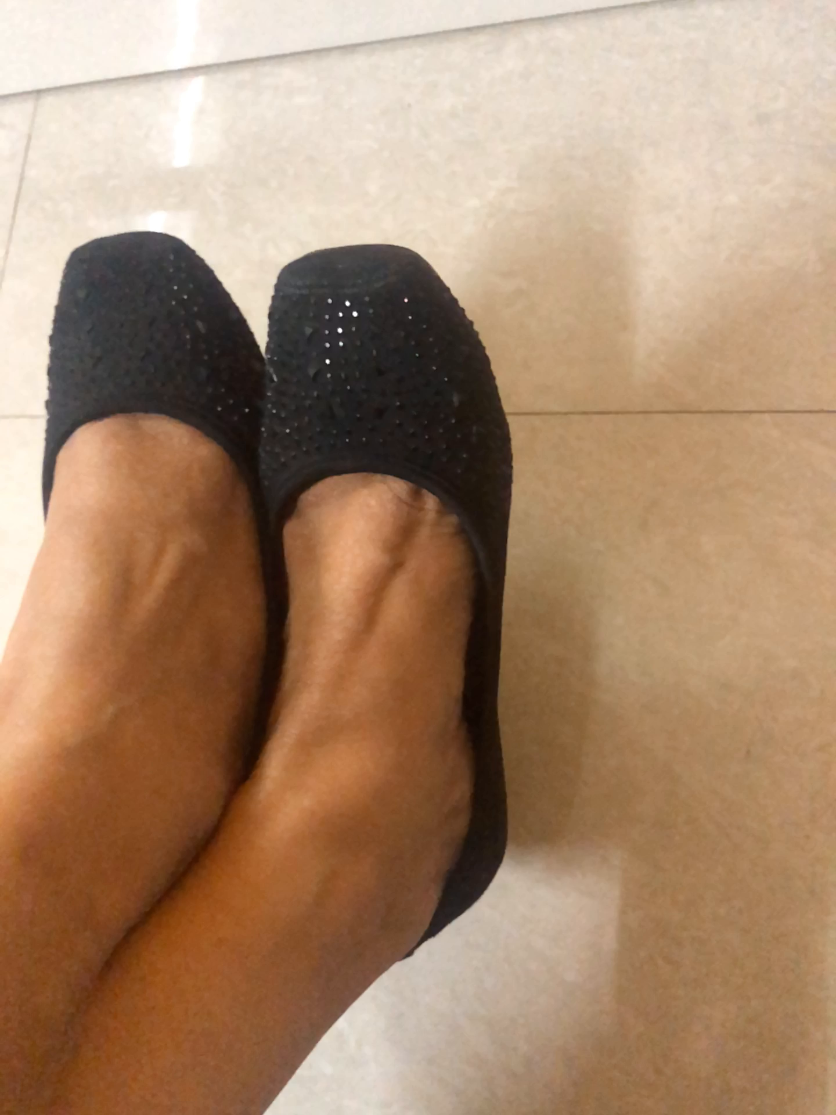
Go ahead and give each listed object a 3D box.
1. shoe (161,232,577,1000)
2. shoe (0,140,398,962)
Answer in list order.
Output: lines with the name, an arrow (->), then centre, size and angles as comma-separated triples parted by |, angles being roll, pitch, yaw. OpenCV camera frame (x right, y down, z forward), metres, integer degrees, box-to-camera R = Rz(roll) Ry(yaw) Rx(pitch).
shoe -> -0.004, 0.021, 0.317 | 0.100, 0.070, 0.239 | 2, 111, 19
shoe -> -0.084, 0.005, 0.346 | 0.100, 0.070, 0.270 | -8, 100, 10
